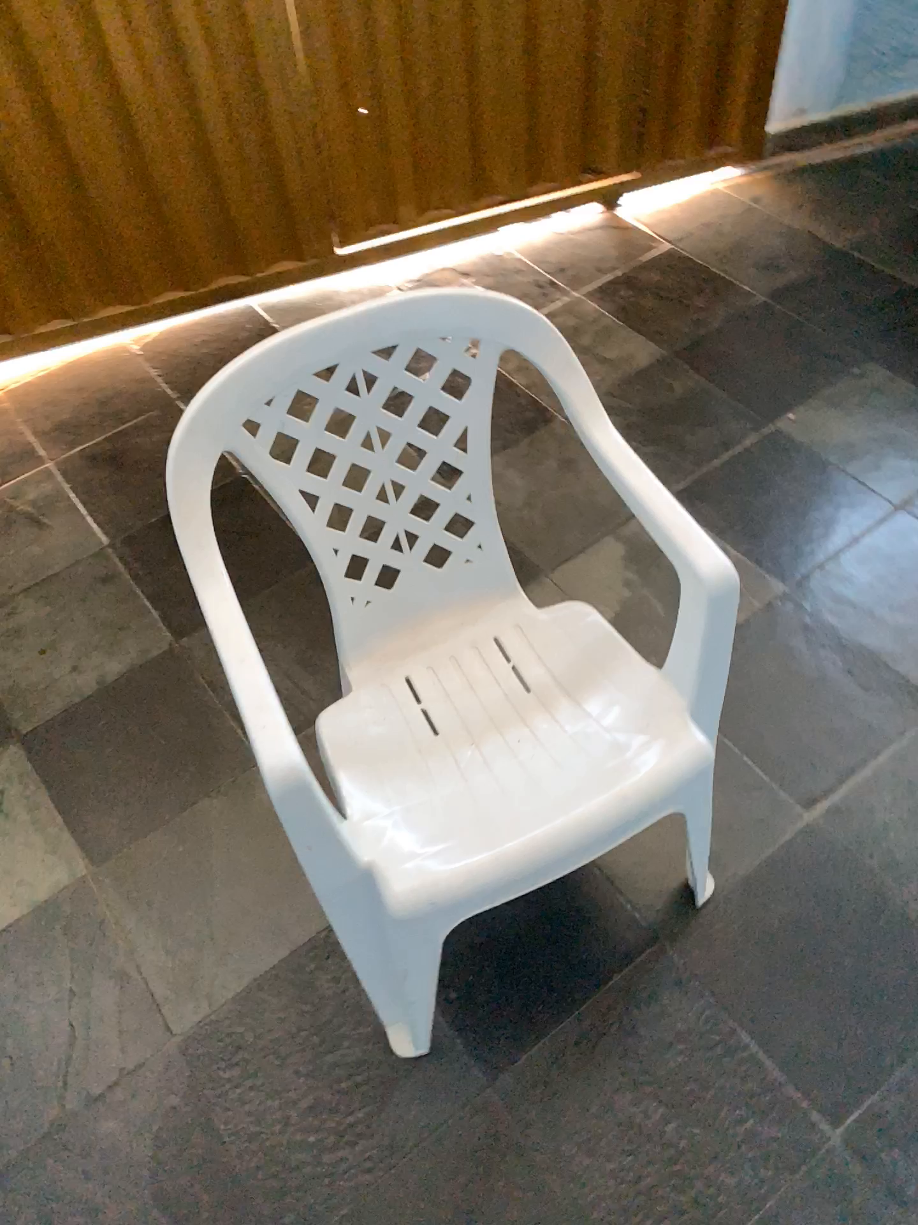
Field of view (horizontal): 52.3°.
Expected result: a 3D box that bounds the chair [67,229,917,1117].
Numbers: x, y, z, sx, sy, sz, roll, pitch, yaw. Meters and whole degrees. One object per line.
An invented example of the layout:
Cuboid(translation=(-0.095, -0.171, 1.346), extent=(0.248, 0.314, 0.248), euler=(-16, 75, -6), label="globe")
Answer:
Cuboid(translation=(0.015, 0.094, 1.114), extent=(0.540, 0.717, 0.592), euler=(-26, 55, -15), label="chair")
